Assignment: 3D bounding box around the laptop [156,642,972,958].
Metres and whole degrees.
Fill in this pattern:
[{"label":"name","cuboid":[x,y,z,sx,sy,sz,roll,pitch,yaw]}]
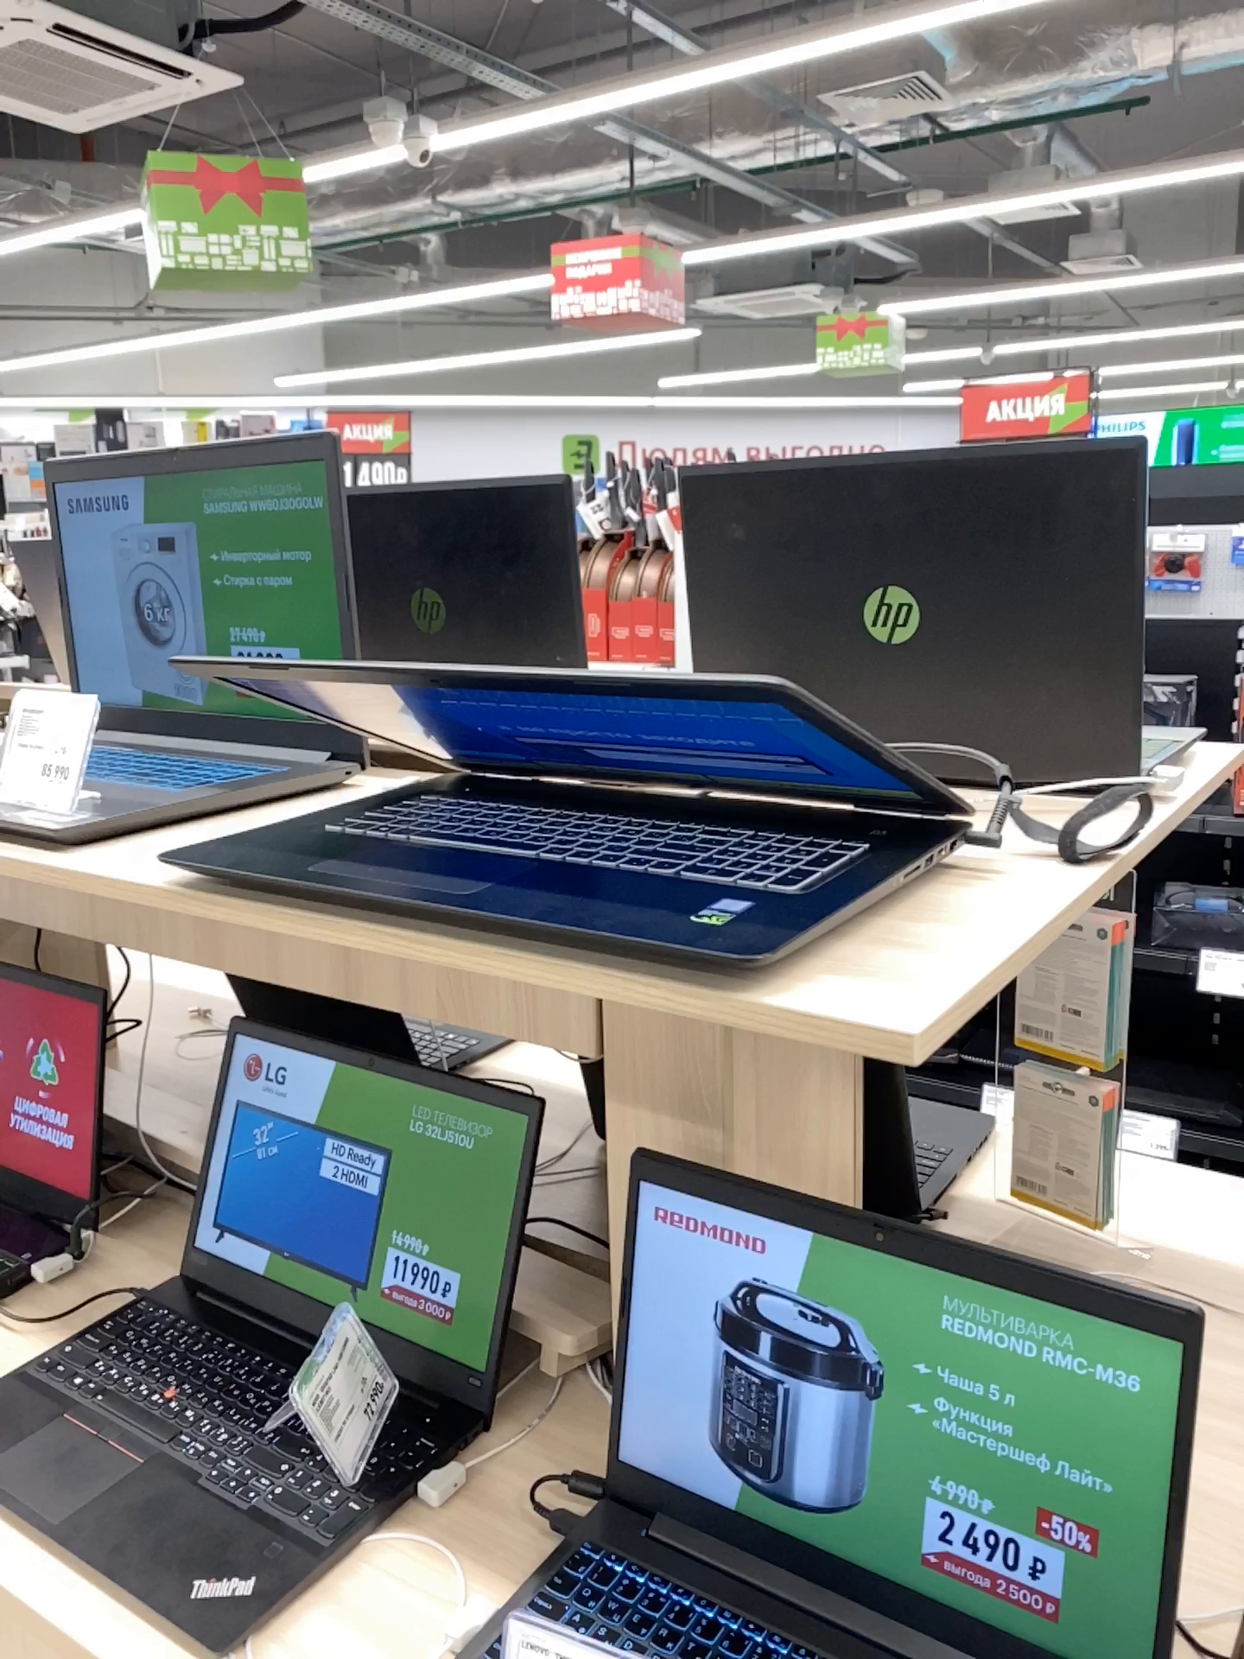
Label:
[{"label":"laptop","cuboid":[-0.034,-0.043,0.737,0.397,0.103,0.263,6,15,34]}]
